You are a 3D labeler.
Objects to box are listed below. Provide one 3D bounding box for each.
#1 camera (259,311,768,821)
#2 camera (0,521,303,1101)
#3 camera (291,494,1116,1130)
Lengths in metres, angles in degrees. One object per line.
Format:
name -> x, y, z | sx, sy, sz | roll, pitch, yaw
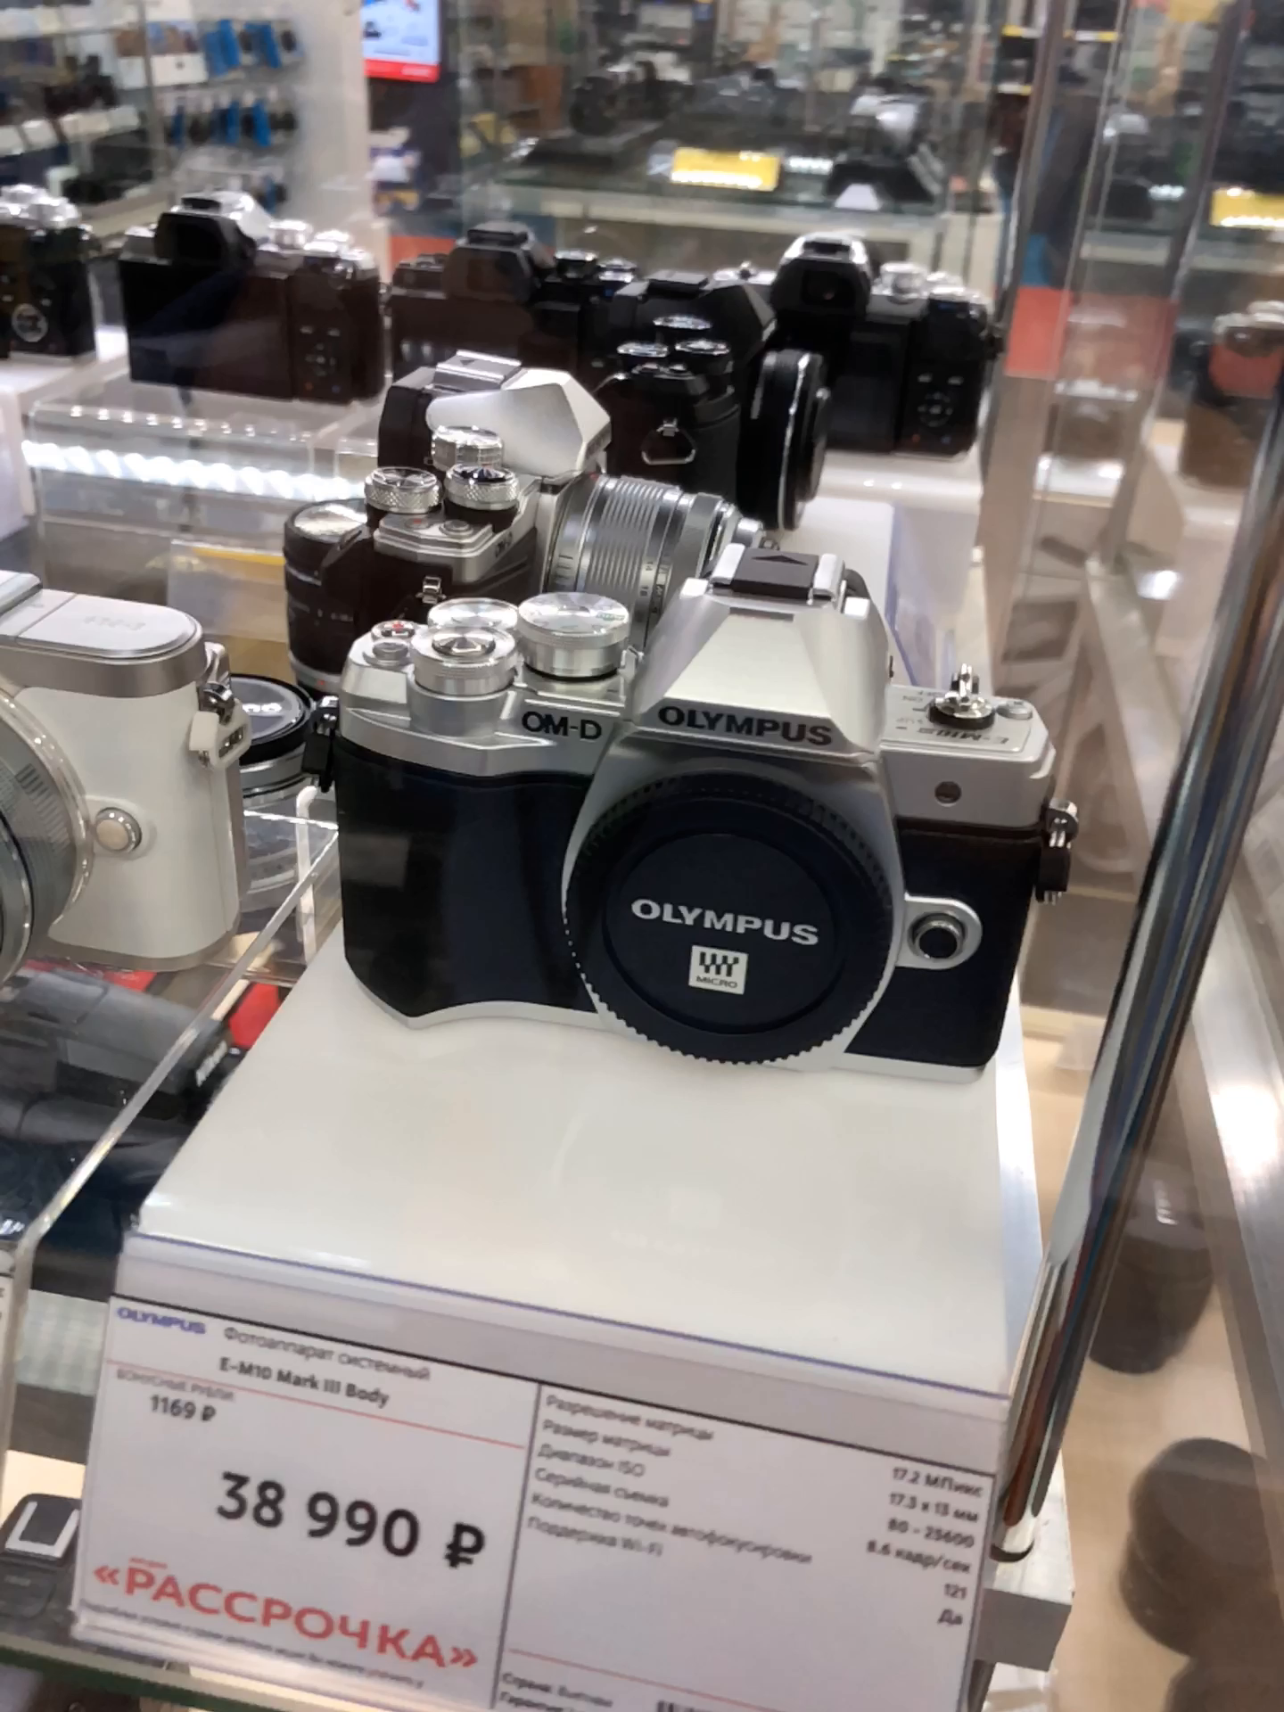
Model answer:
camera -> -0.024, -0.084, 0.377 | 0.101, 0.084, 0.137 | 6, 31, 5
camera -> -0.138, -0.013, 0.267 | 0.124, 0.068, 0.068 | 8, 31, 8
camera -> 0.010, -0.011, 0.254 | 0.121, 0.077, 0.065 | 8, 31, 7
